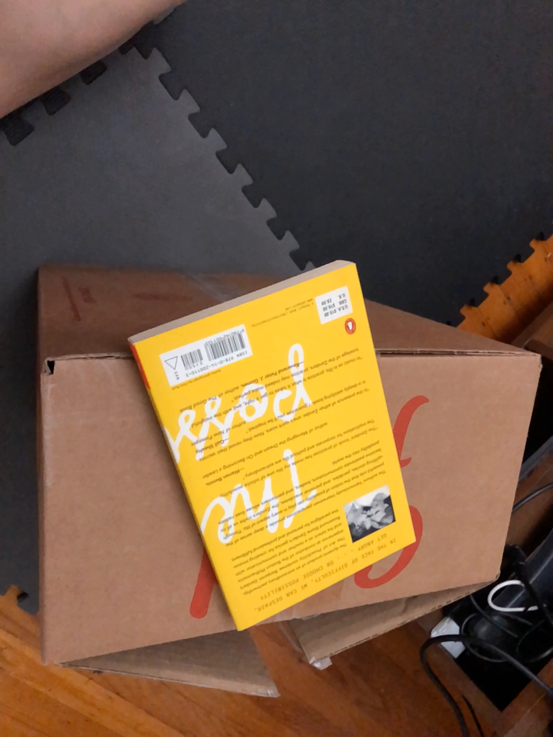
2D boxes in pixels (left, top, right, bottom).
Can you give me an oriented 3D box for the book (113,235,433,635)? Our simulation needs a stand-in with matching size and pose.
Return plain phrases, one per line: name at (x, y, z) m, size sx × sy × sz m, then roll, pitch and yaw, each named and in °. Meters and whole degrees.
book at (0.010, 0.043, 0.375) m, size 0.150 × 0.020 × 0.210 m, roll -22°, pitch 111°, yaw -15°
